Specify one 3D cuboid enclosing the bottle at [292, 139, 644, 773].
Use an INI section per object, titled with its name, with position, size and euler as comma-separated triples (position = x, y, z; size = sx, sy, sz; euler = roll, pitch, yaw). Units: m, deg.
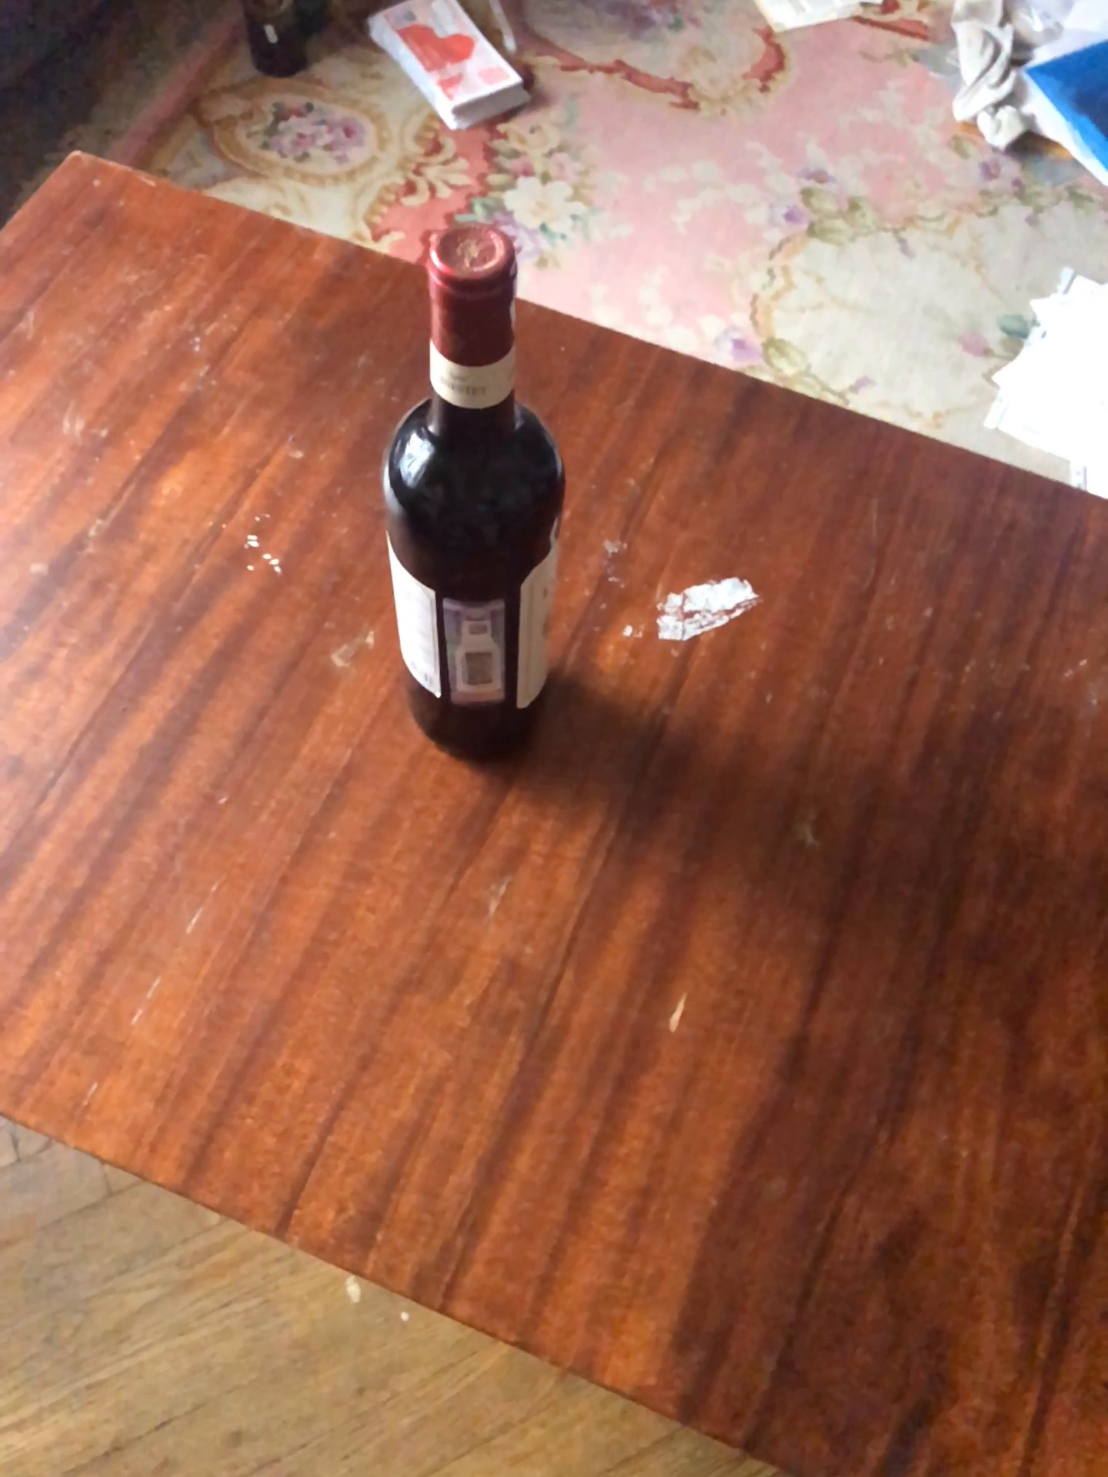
[bottle]
position = -0.034, -0.091, 0.501
size = 0.090, 0.269, 0.090
euler = 1, 64, -2
